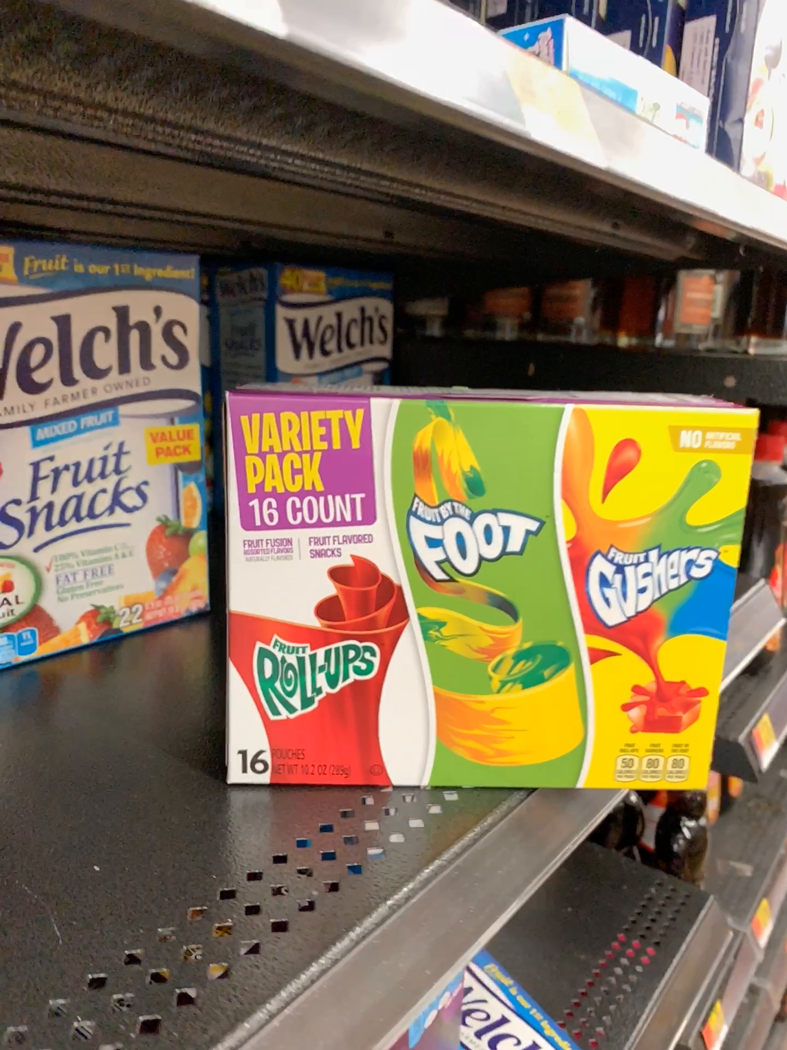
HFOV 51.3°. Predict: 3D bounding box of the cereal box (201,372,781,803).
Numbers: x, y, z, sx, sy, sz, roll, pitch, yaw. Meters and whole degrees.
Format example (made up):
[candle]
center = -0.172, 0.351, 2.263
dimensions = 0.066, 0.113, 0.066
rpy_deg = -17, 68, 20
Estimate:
[cereal box]
center = 0.034, 0.026, 0.357
dimensions = 0.220, 0.169, 0.060
rpy_deg = 2, 14, -3
